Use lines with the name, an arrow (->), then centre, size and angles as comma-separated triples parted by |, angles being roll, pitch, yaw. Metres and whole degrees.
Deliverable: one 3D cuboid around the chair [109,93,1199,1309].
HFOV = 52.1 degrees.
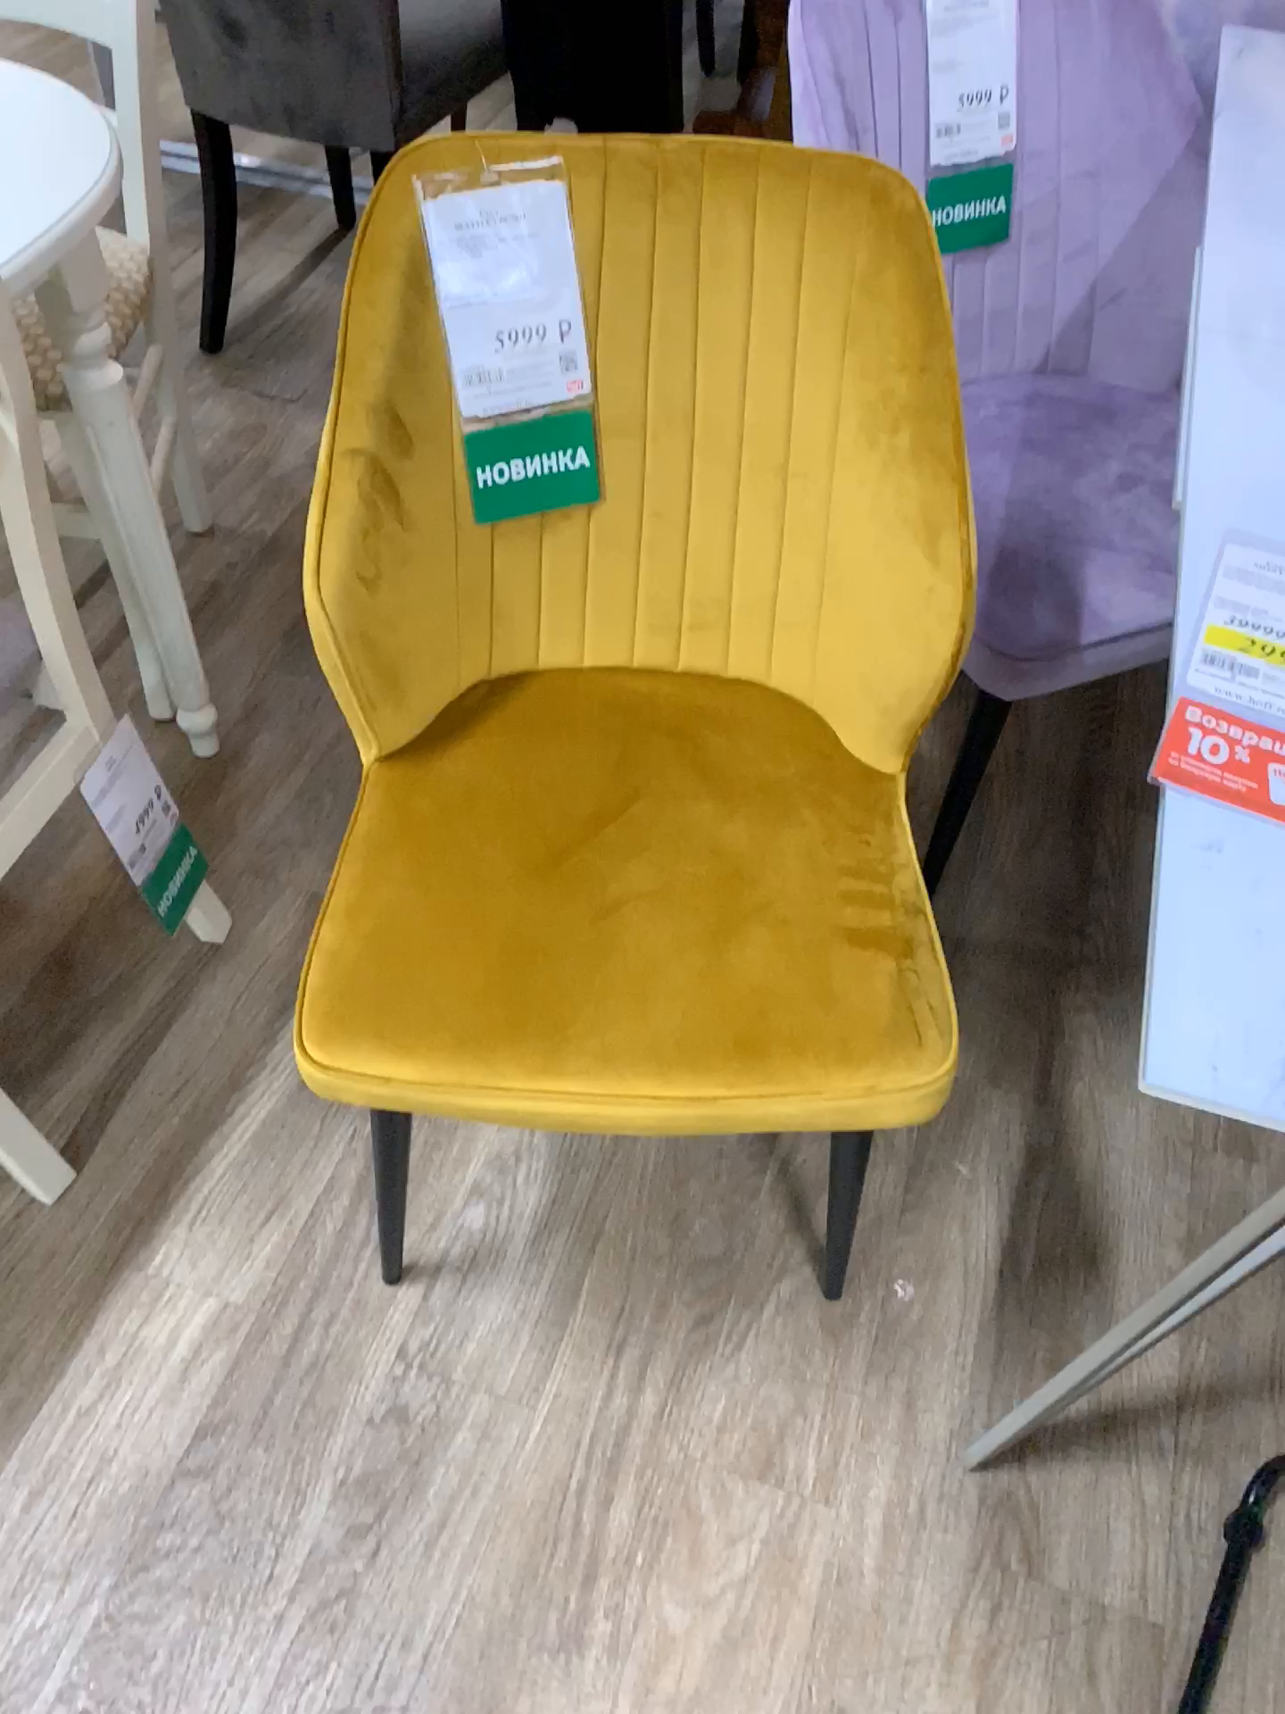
chair -> -0.011, -0.046, 1.101 | 0.500, 0.886, 0.502 | 2, 50, -2
